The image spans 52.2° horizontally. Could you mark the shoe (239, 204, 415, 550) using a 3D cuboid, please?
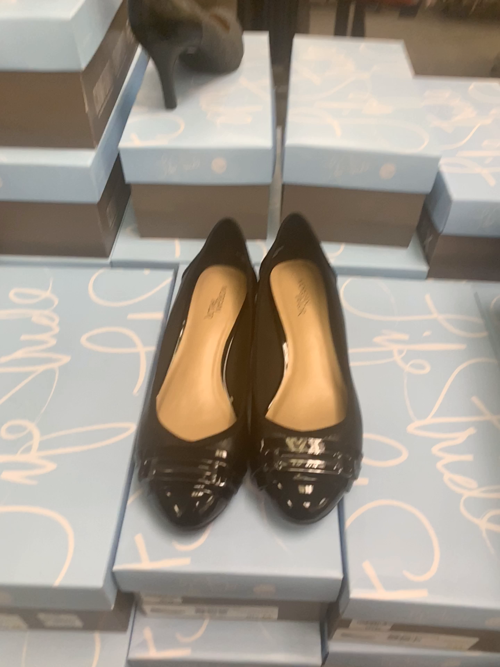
[{"bbox_3d":[0.044,0.015,0.384,0.090,0.095,0.252,2,47,1],"label":"shoe"}]

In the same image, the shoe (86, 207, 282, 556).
[{"bbox_3d":[-0.029,0.018,0.380,0.090,0.095,0.246,4,47,3],"label":"shoe"}]
